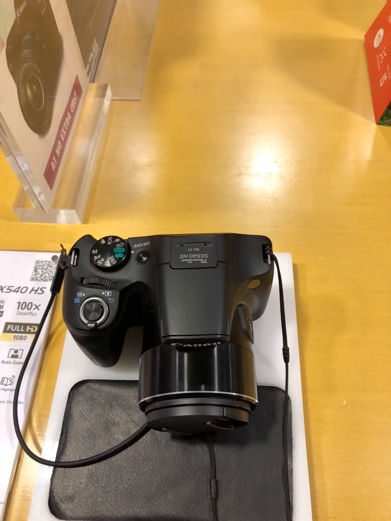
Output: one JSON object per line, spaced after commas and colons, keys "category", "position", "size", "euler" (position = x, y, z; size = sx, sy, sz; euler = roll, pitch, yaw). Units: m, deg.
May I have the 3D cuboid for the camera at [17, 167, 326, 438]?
{"category": "camera", "position": [-0.010, 0.026, 0.255], "size": [0.130, 0.090, 0.131], "euler": [-1, 59, 1]}
